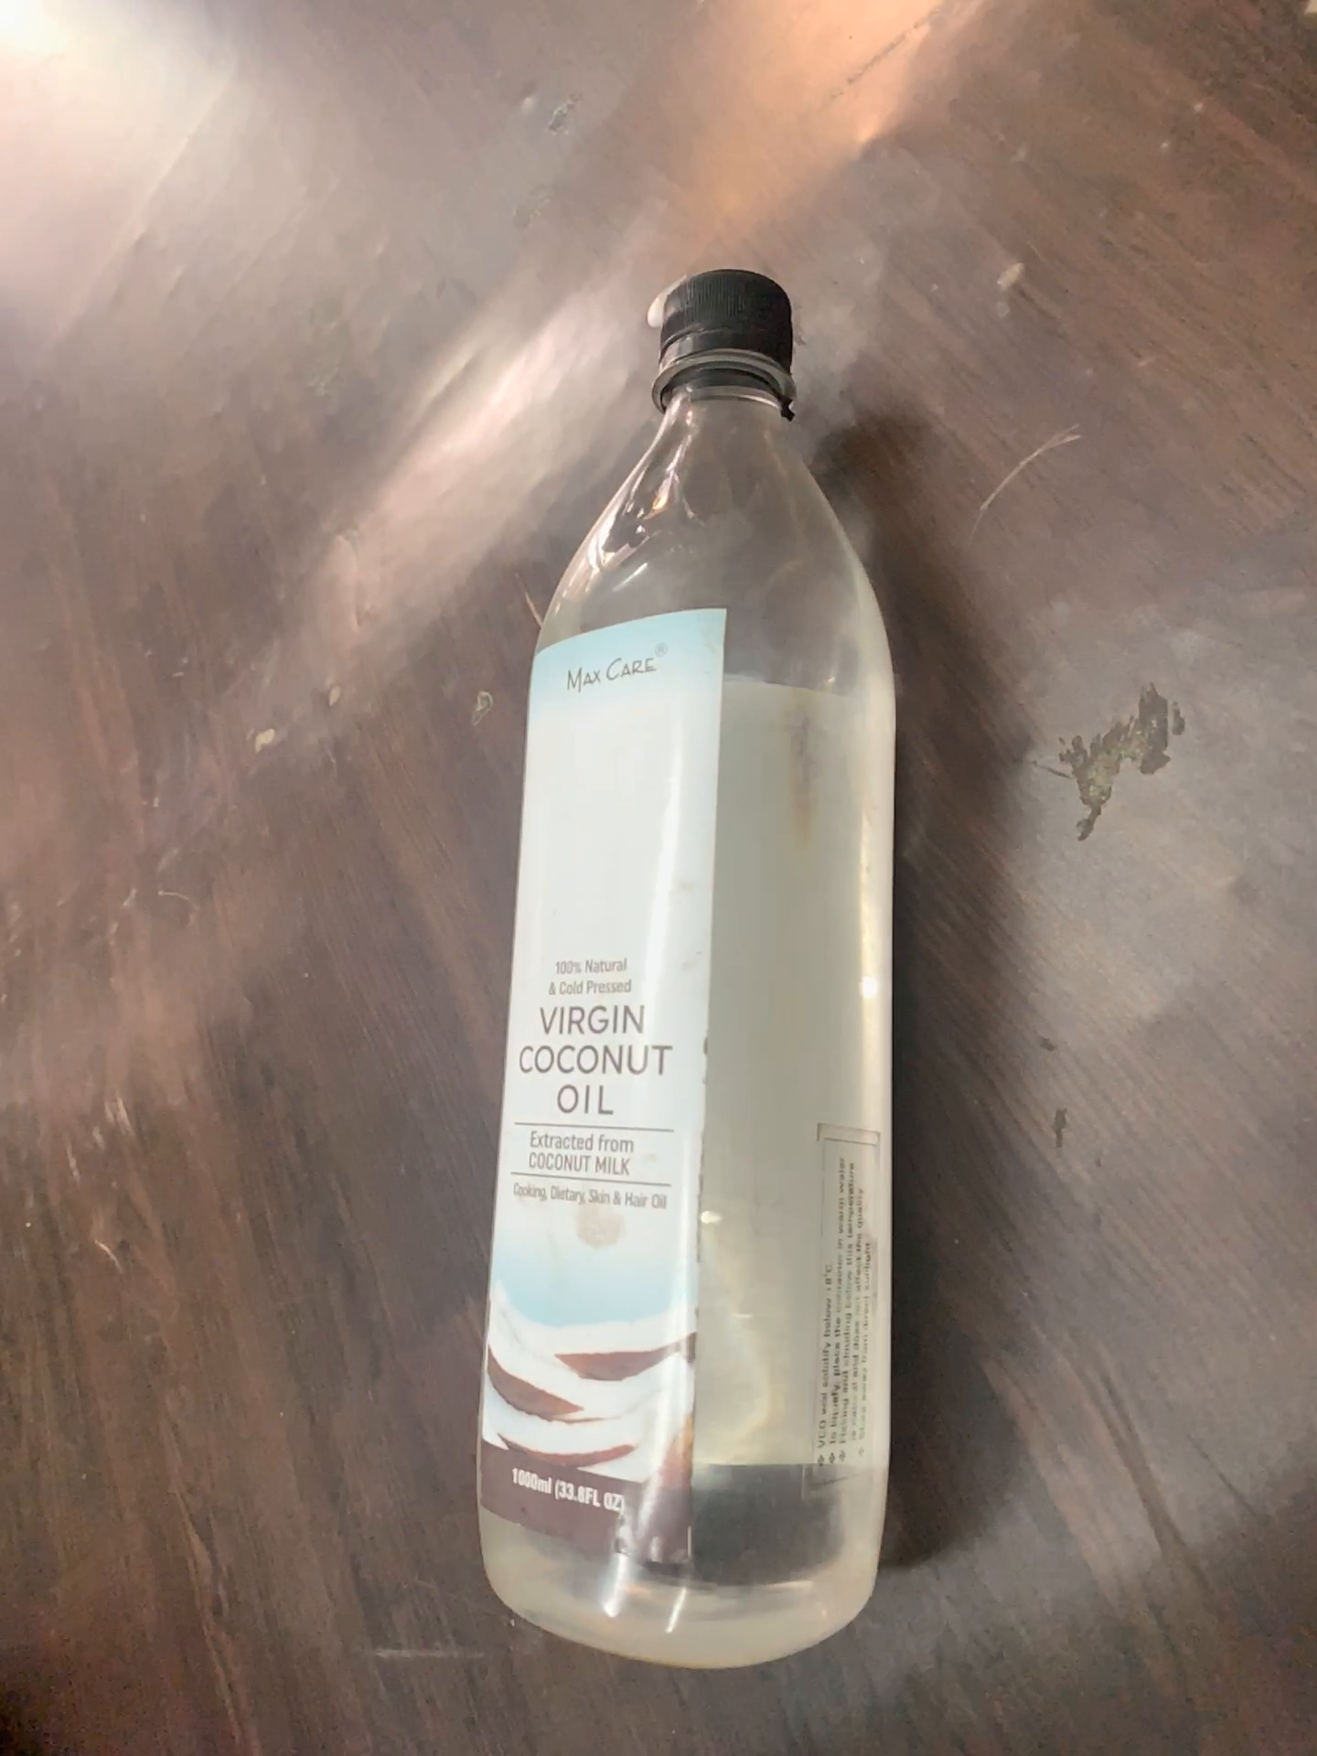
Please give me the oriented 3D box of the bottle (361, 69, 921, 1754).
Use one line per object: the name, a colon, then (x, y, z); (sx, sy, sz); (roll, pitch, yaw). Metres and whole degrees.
bottle: (0.002, -0.001, 0.282); (0.080, 0.070, 0.290); (-6, 77, 38)
